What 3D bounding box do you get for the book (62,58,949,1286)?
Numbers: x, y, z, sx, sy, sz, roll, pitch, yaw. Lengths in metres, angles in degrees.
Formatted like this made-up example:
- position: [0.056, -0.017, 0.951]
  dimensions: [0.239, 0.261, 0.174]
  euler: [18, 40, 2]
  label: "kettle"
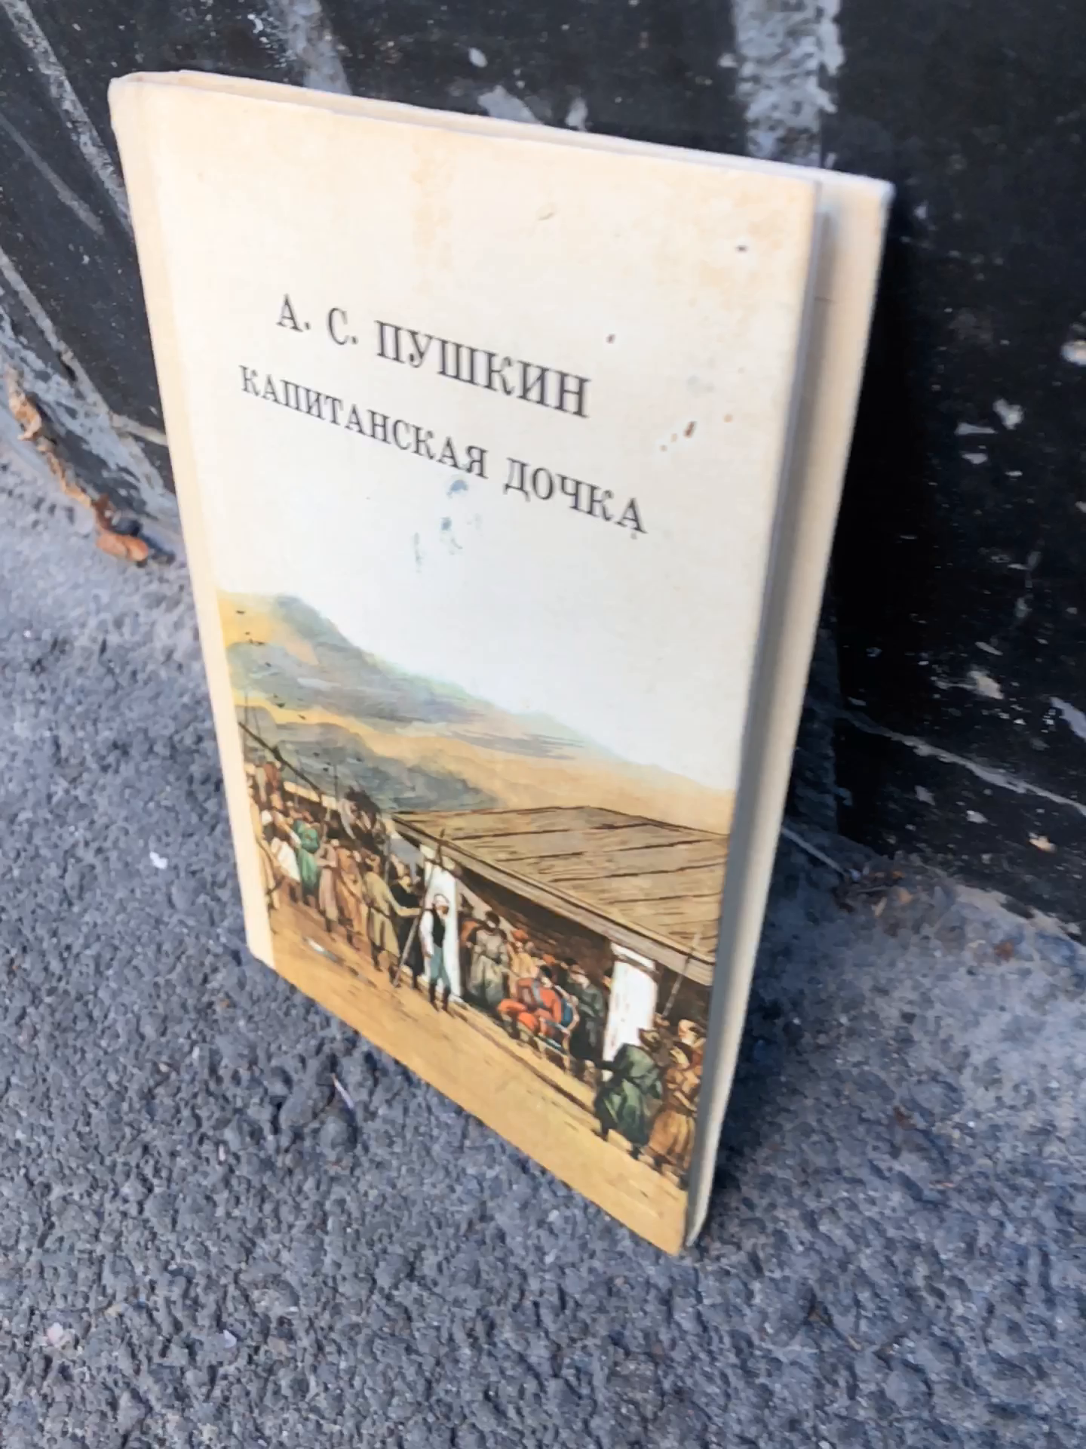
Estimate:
- position: [-0.019, -0.001, 0.237]
  dimensions: [0.150, 0.214, 0.020]
  euler: [26, 42, 30]
  label: "book"
